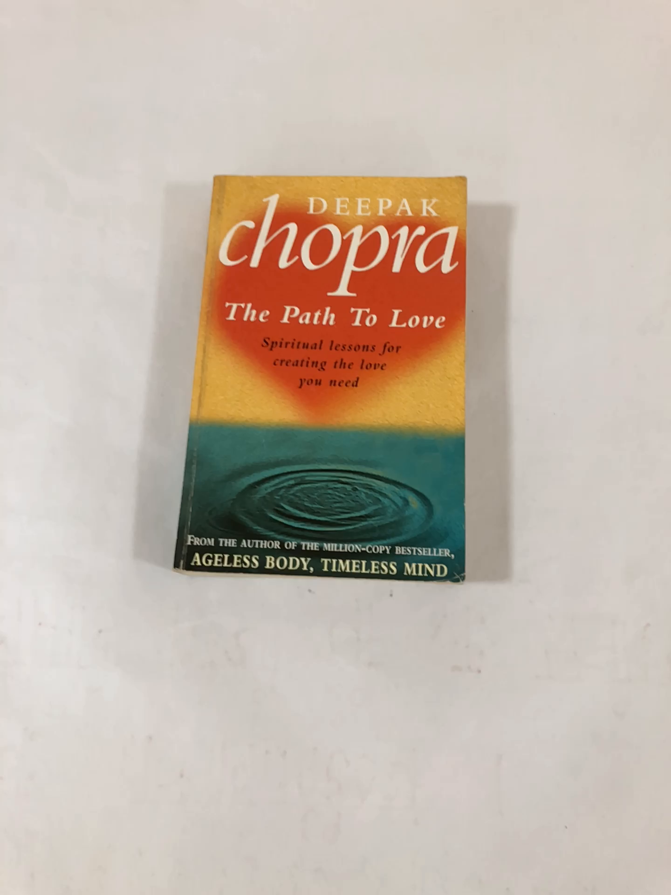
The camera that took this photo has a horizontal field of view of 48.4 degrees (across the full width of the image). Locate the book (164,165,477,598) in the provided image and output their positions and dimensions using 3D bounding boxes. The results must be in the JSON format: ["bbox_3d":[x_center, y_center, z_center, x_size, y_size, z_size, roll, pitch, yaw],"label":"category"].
[{"bbox_3d":[-0.002,-0.034,0.357,0.130,0.040,0.200,3,74,0],"label":"book"}]
